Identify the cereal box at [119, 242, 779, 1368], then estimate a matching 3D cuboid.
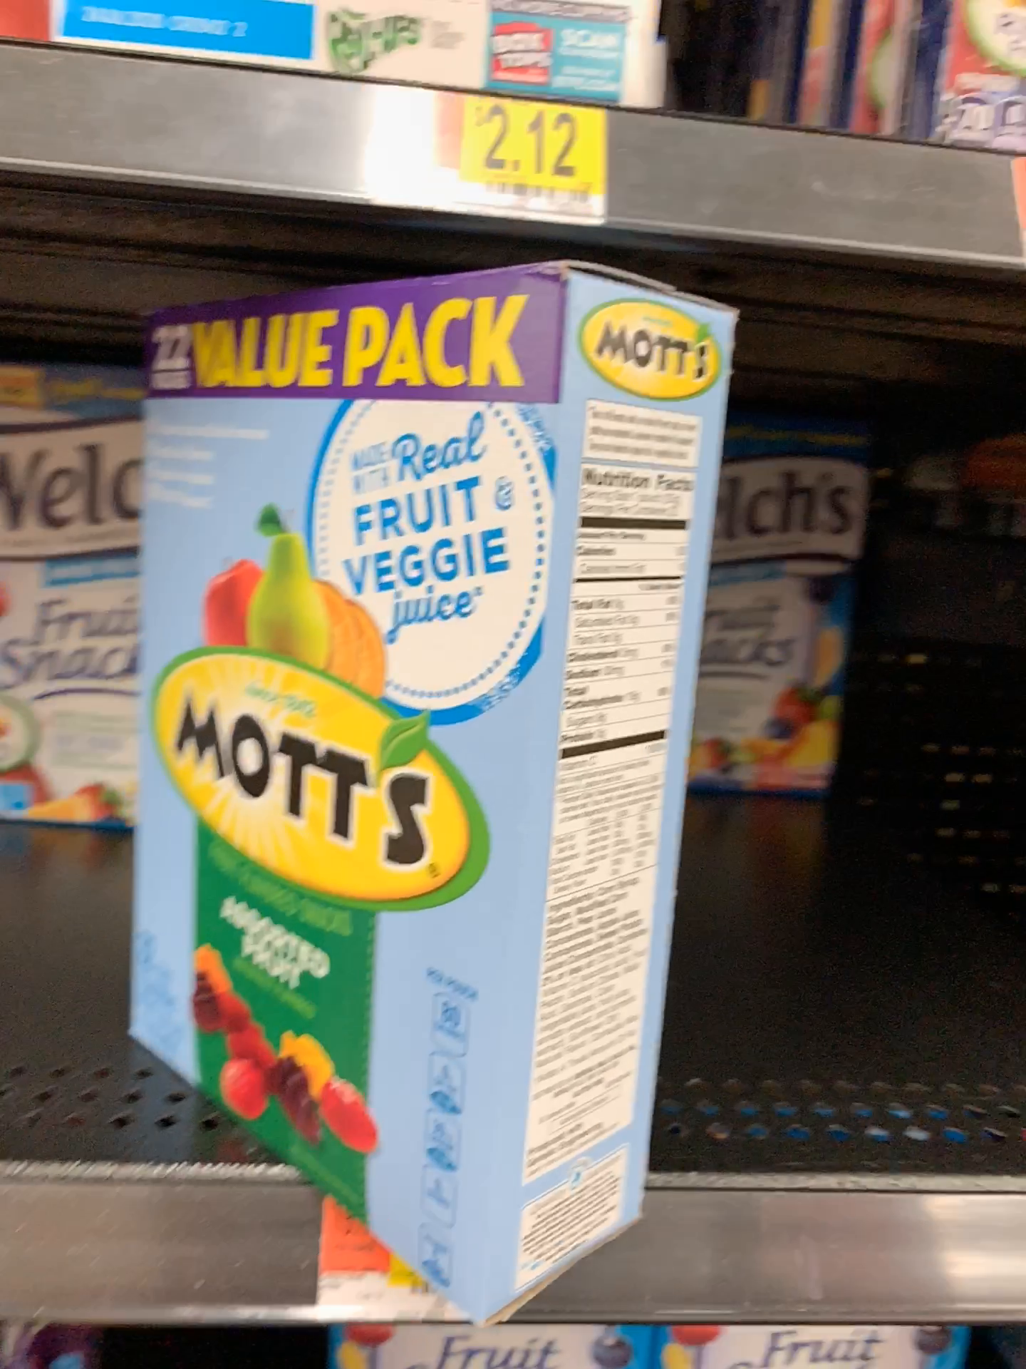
[{"bbox_3d":[-0.036,0.016,0.300,0.180,0.239,0.060,15,15,41],"label":"cereal box"}]
